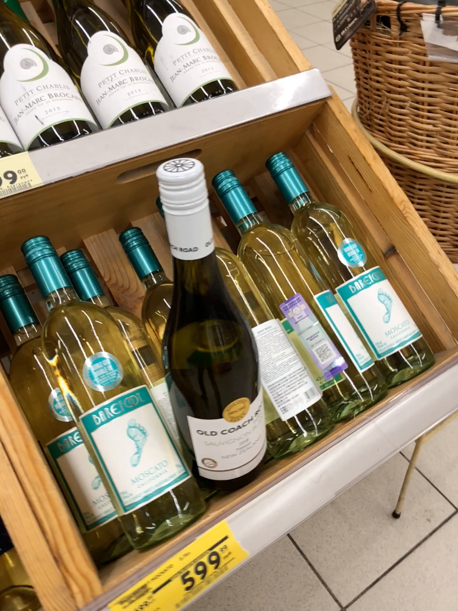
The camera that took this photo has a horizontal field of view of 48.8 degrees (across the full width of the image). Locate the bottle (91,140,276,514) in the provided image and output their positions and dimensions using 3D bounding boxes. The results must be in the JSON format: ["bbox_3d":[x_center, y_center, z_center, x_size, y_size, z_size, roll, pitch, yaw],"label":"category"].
[{"bbox_3d":[-0.022,0.034,0.399,0.077,0.290,0.088,-25,43,-23],"label":"bottle"}]
